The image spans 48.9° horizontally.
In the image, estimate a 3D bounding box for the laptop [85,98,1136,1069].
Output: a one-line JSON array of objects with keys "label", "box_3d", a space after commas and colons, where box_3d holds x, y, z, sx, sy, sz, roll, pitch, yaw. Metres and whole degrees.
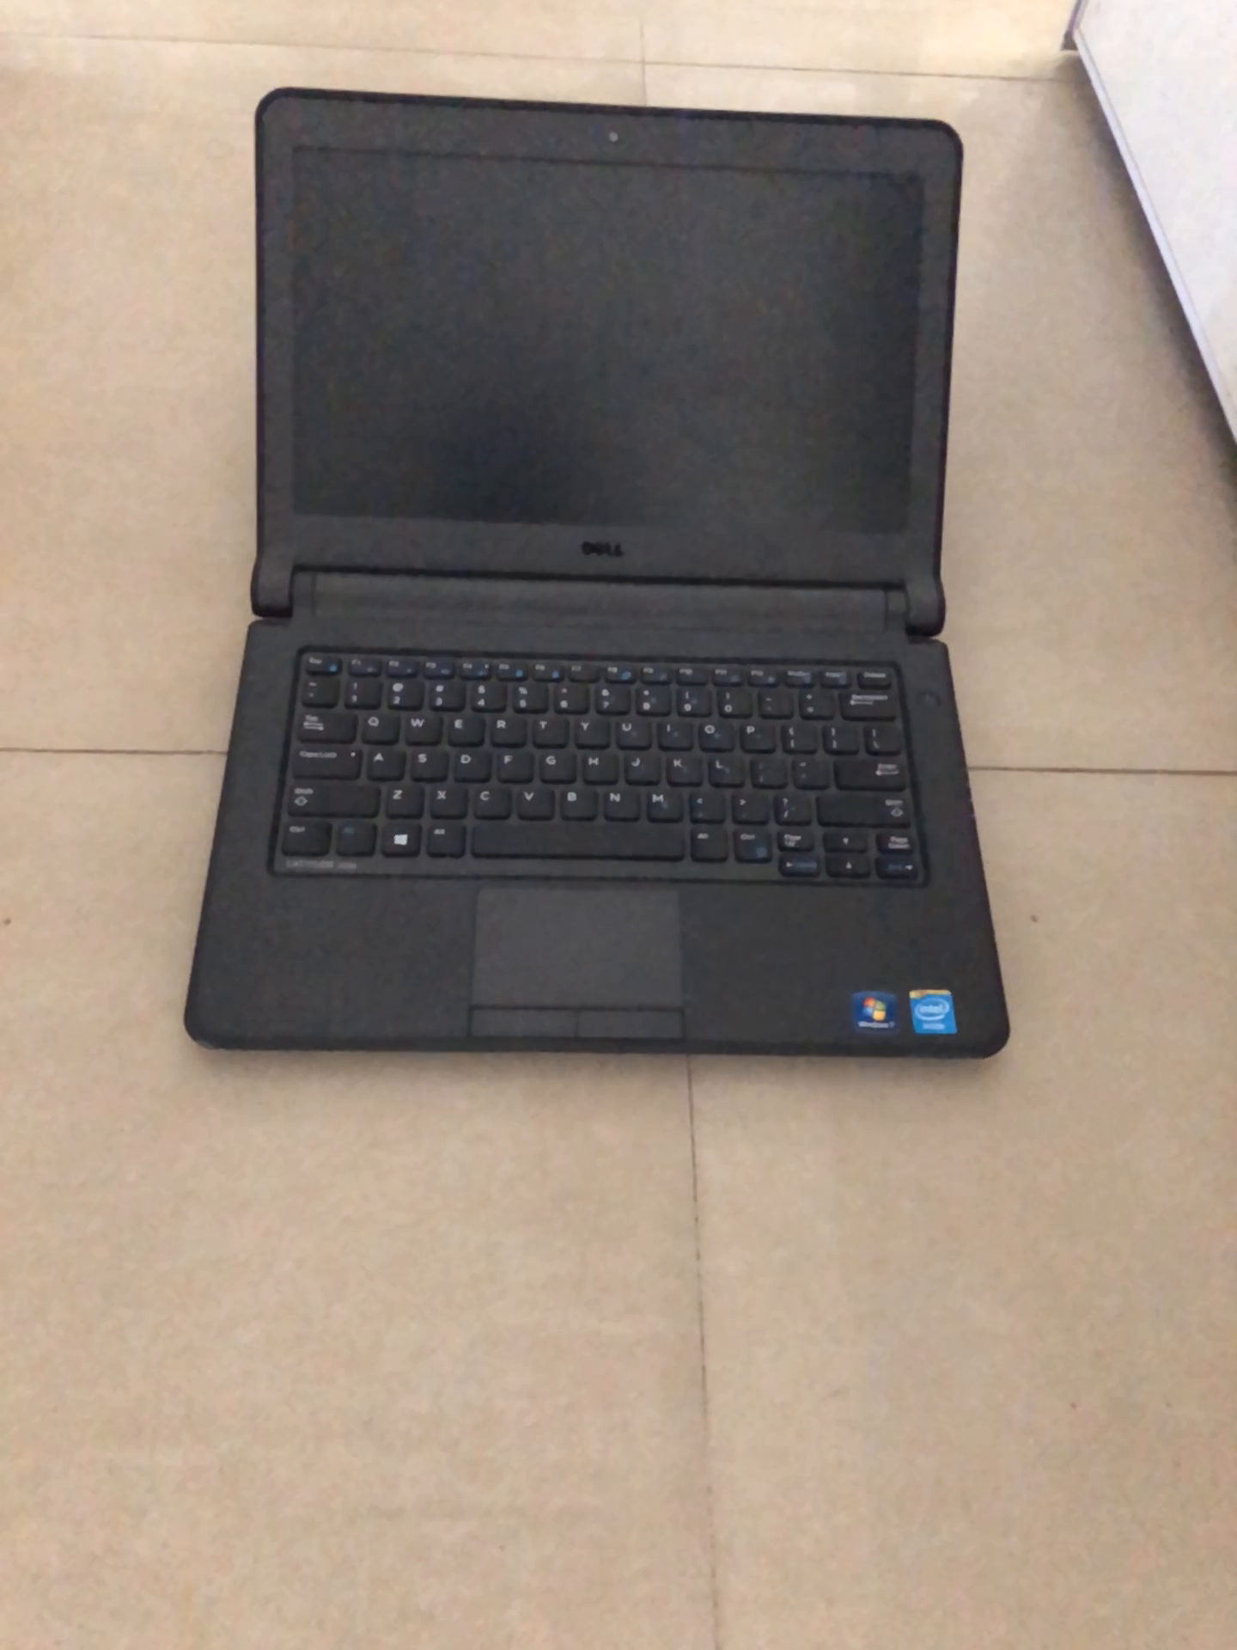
[{"label": "laptop", "box_3d": [-0.003, -0.114, 0.574, 0.312, 0.154, 0.394, 1, 57, -2]}]
